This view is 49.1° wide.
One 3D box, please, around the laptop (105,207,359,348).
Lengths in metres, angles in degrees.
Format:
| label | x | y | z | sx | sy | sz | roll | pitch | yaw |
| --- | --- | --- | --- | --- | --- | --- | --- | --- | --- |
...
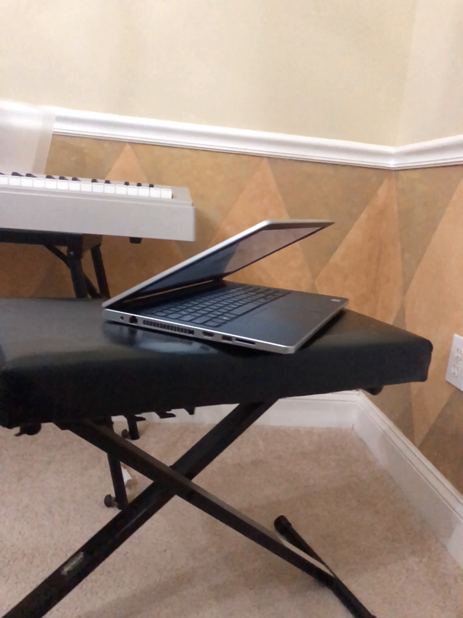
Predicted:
| label | x | y | z | sx | sy | sz | roll | pitch | yaw |
| --- | --- | --- | --- | --- | --- | --- | --- | --- | --- |
| laptop | 0.029 | -0.074 | 0.801 | 0.261 | 0.137 | 0.376 | 10 | 13 | 21 |
